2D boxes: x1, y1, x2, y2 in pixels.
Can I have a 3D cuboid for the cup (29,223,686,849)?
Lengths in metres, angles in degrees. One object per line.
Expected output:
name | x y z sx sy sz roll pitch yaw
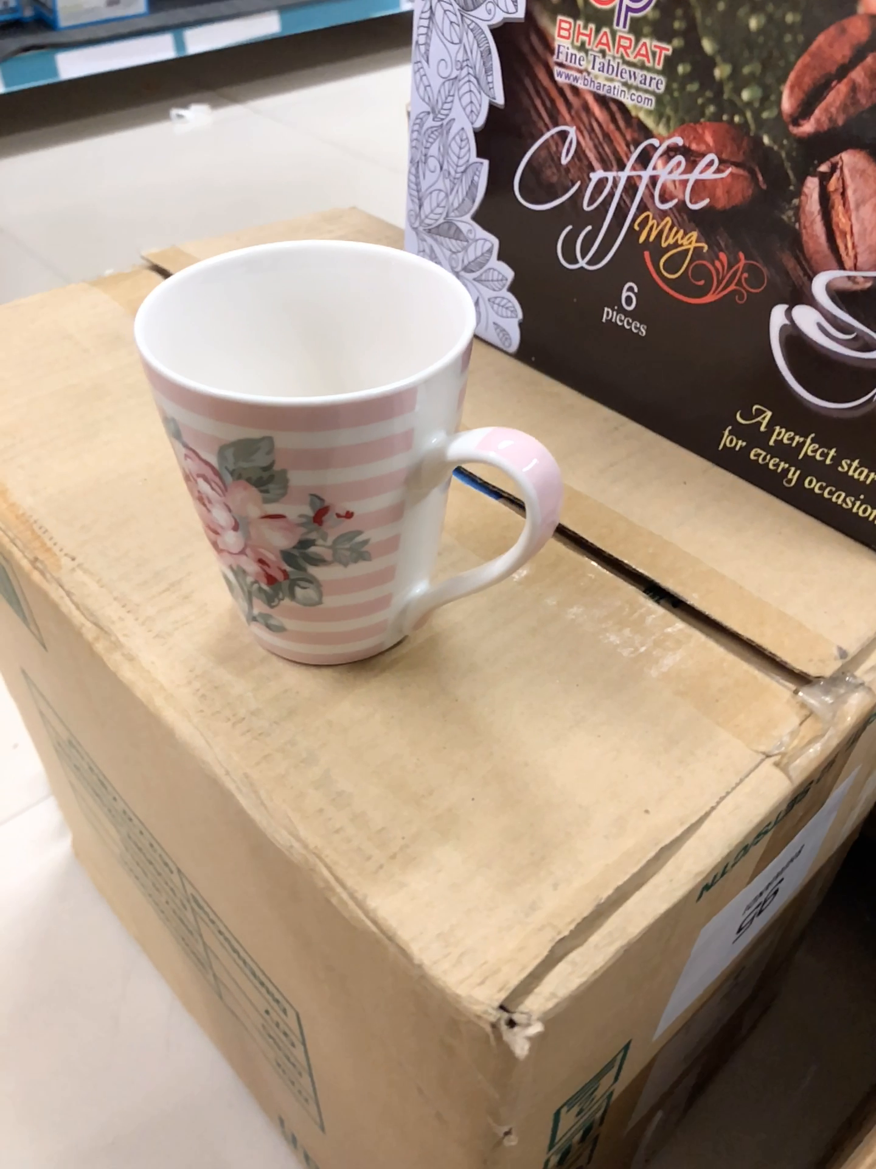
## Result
cup | -0.022 -0.022 0.261 0.130 0.089 0.090 31 50 29
